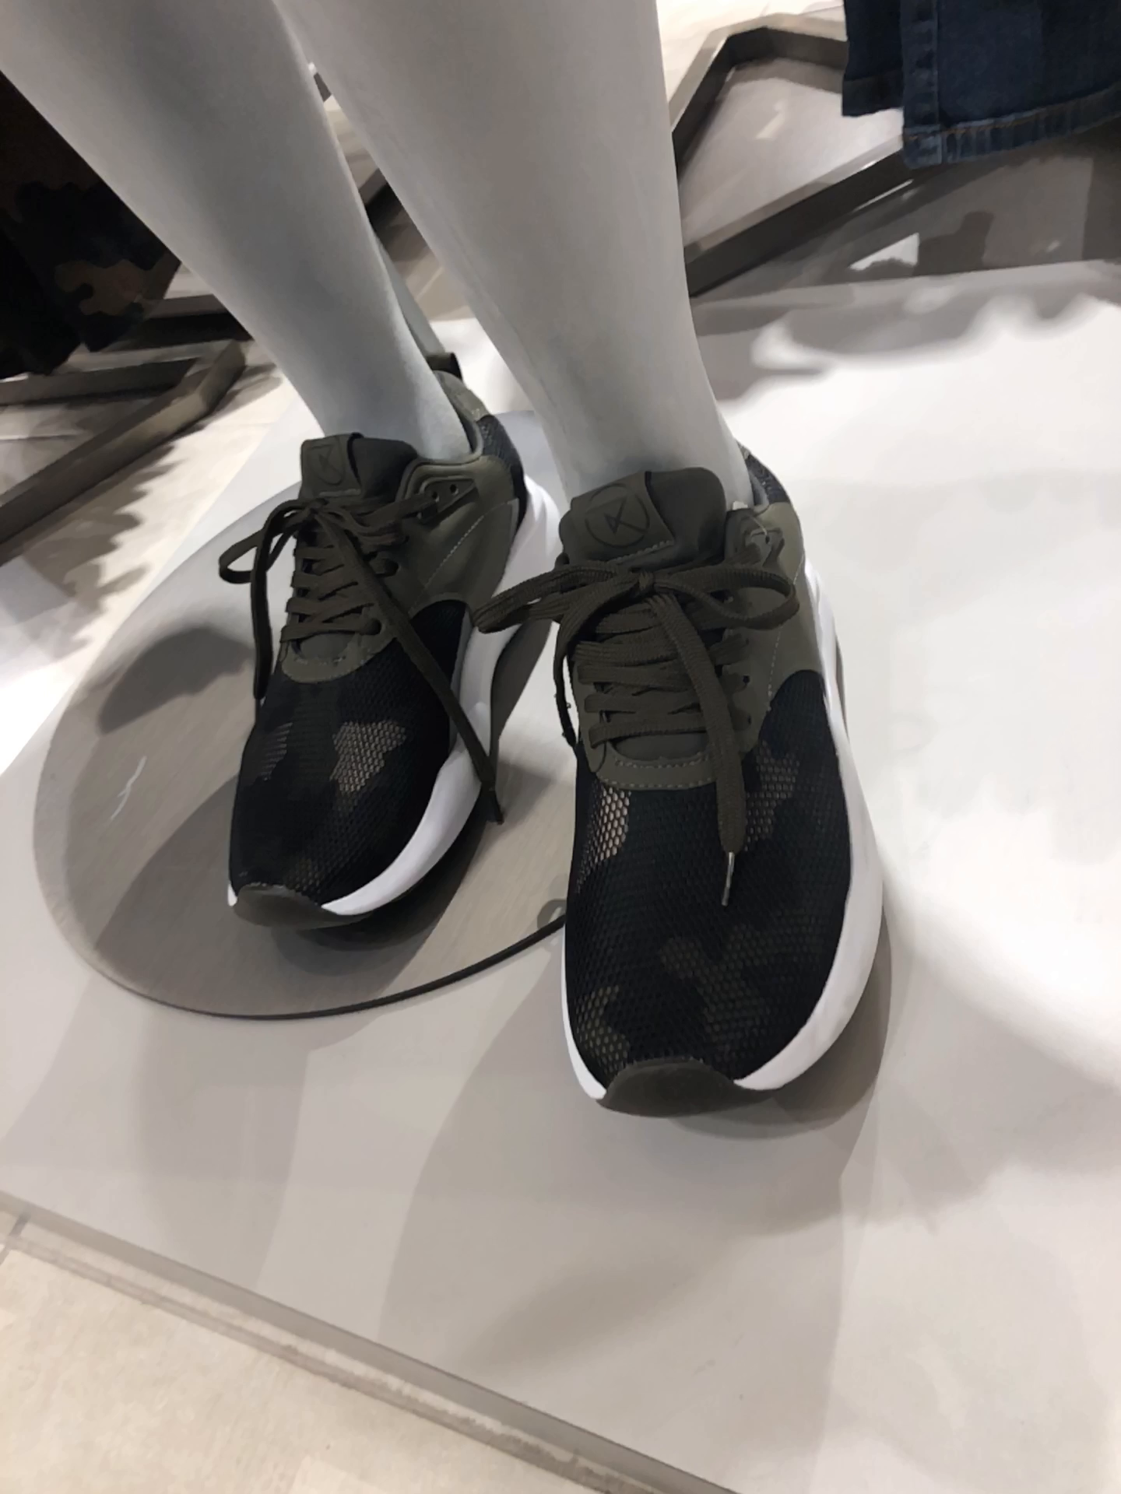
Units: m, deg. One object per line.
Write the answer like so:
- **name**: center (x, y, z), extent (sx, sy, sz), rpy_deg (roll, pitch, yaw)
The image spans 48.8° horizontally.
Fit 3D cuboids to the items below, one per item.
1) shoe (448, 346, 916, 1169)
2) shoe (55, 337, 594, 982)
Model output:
- **shoe**: center (0.053, -0.009, 0.447), extent (0.110, 0.109, 0.282), rpy_deg (-8, 47, 18)
- **shoe**: center (-0.082, -0.046, 0.541), extent (0.100, 0.119, 0.261), rpy_deg (0, 50, 25)
